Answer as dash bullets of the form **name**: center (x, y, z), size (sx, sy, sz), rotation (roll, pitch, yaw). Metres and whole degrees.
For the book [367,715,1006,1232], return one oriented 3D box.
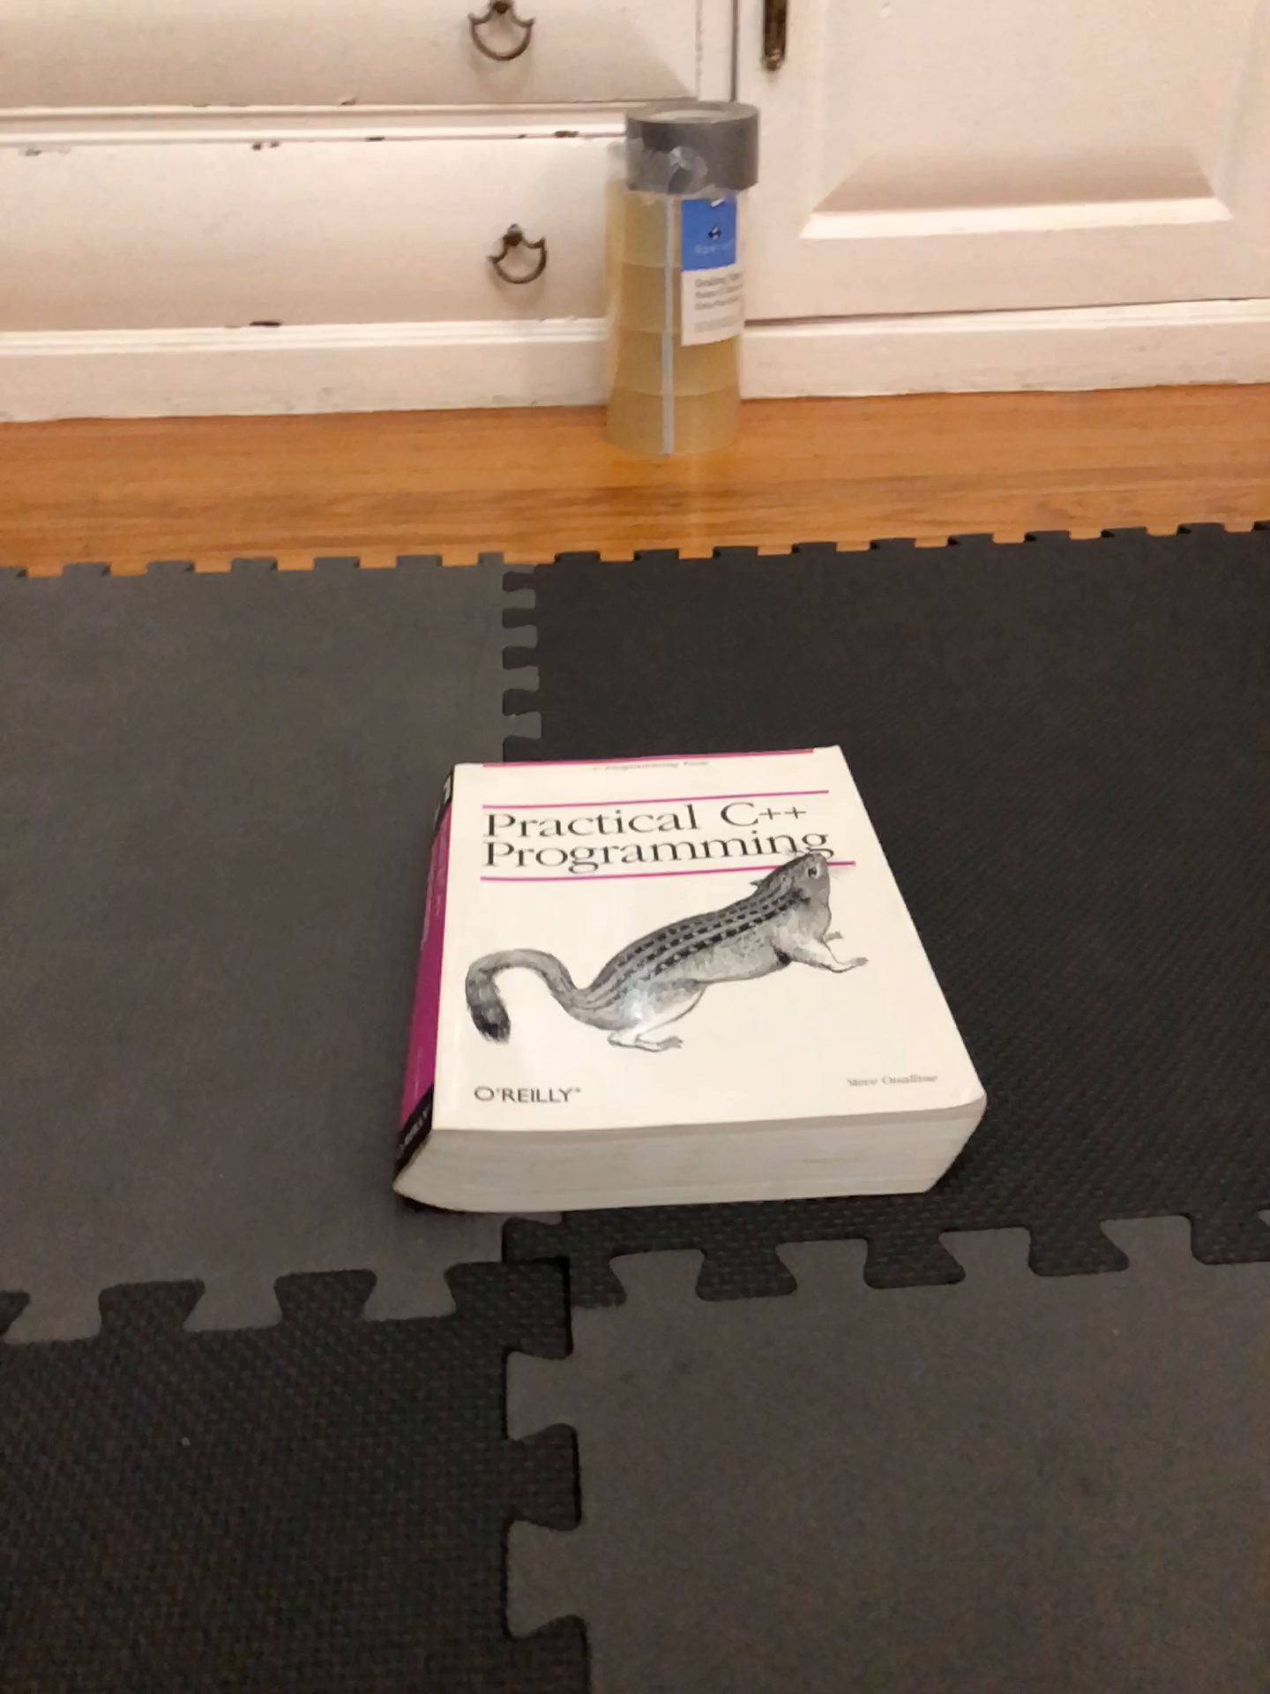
- **book**: center (0.006, 0.035, 0.550), size (0.200, 0.050, 0.251), rotation (2, 34, -7)
